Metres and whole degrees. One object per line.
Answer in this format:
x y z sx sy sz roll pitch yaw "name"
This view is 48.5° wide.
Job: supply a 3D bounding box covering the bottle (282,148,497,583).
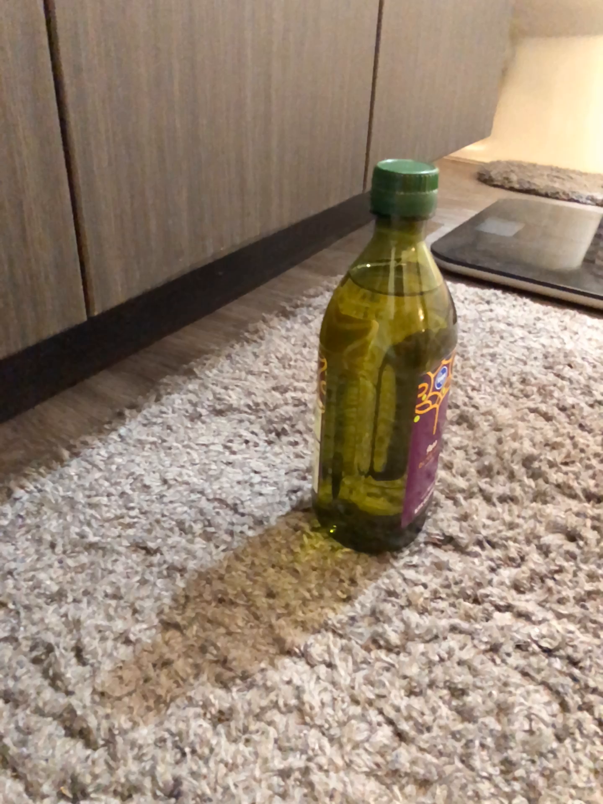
0.039 -0.014 0.351 0.060 0.209 0.070 25 38 31 "bottle"
